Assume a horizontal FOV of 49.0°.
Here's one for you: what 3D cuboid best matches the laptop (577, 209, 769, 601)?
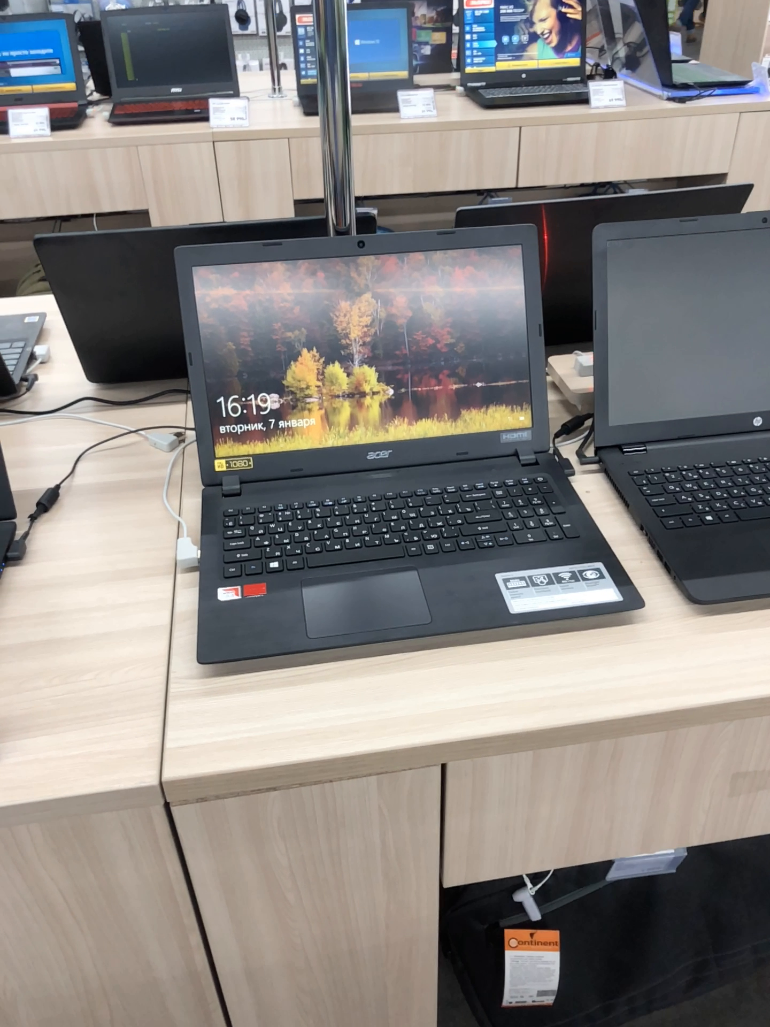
[{"bbox_3d":[0.422,-0.129,0.821,0.377,0.212,0.340,-5,35,-5],"label":"laptop"}]

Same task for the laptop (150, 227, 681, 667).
[{"bbox_3d":[0.007,-0.092,0.788,0.373,0.208,0.369,-7,36,-7],"label":"laptop"}]

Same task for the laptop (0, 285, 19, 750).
[{"bbox_3d":[-0.523,-0.018,0.697,0.306,0.214,0.302,-5,36,-6],"label":"laptop"}]
